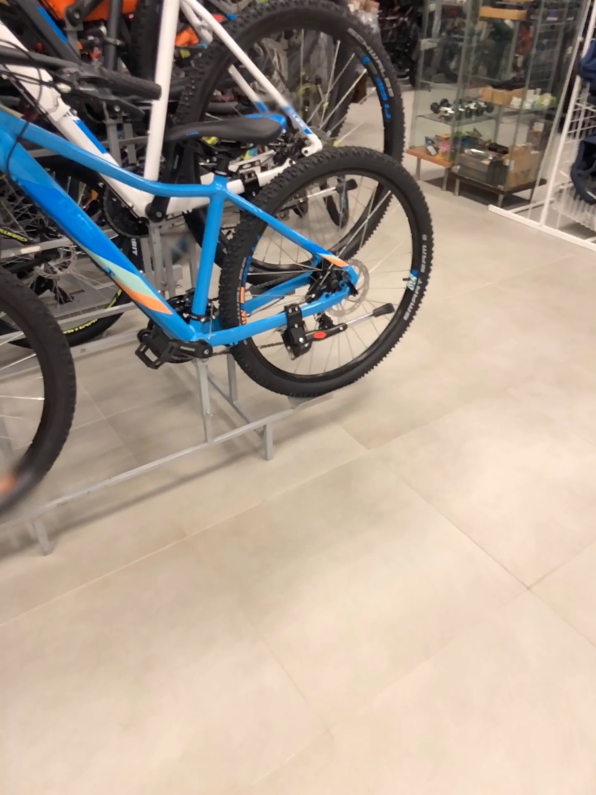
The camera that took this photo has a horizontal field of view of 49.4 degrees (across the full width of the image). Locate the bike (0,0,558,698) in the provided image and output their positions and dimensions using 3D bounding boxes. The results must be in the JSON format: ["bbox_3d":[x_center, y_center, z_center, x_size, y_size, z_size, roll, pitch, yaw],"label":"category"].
[{"bbox_3d":[-0.395,-0.322,1.441,1.705,1.082,0.632,-22,41,-28],"label":"bike"}]
